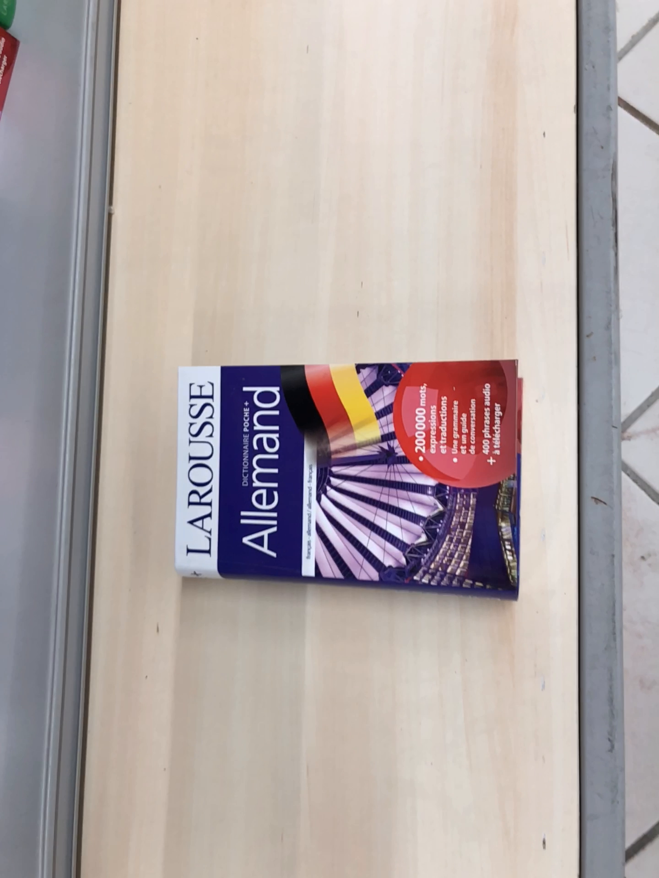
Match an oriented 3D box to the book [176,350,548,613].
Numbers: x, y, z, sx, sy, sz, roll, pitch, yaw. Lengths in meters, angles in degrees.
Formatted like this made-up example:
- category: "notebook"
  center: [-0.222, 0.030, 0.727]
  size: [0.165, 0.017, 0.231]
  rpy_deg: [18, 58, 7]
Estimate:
- category: "book"
  center: [0.018, 0.020, 0.380]
  size: [0.181, 0.050, 0.120]
  rpy_deg: [1, 83, 15]
